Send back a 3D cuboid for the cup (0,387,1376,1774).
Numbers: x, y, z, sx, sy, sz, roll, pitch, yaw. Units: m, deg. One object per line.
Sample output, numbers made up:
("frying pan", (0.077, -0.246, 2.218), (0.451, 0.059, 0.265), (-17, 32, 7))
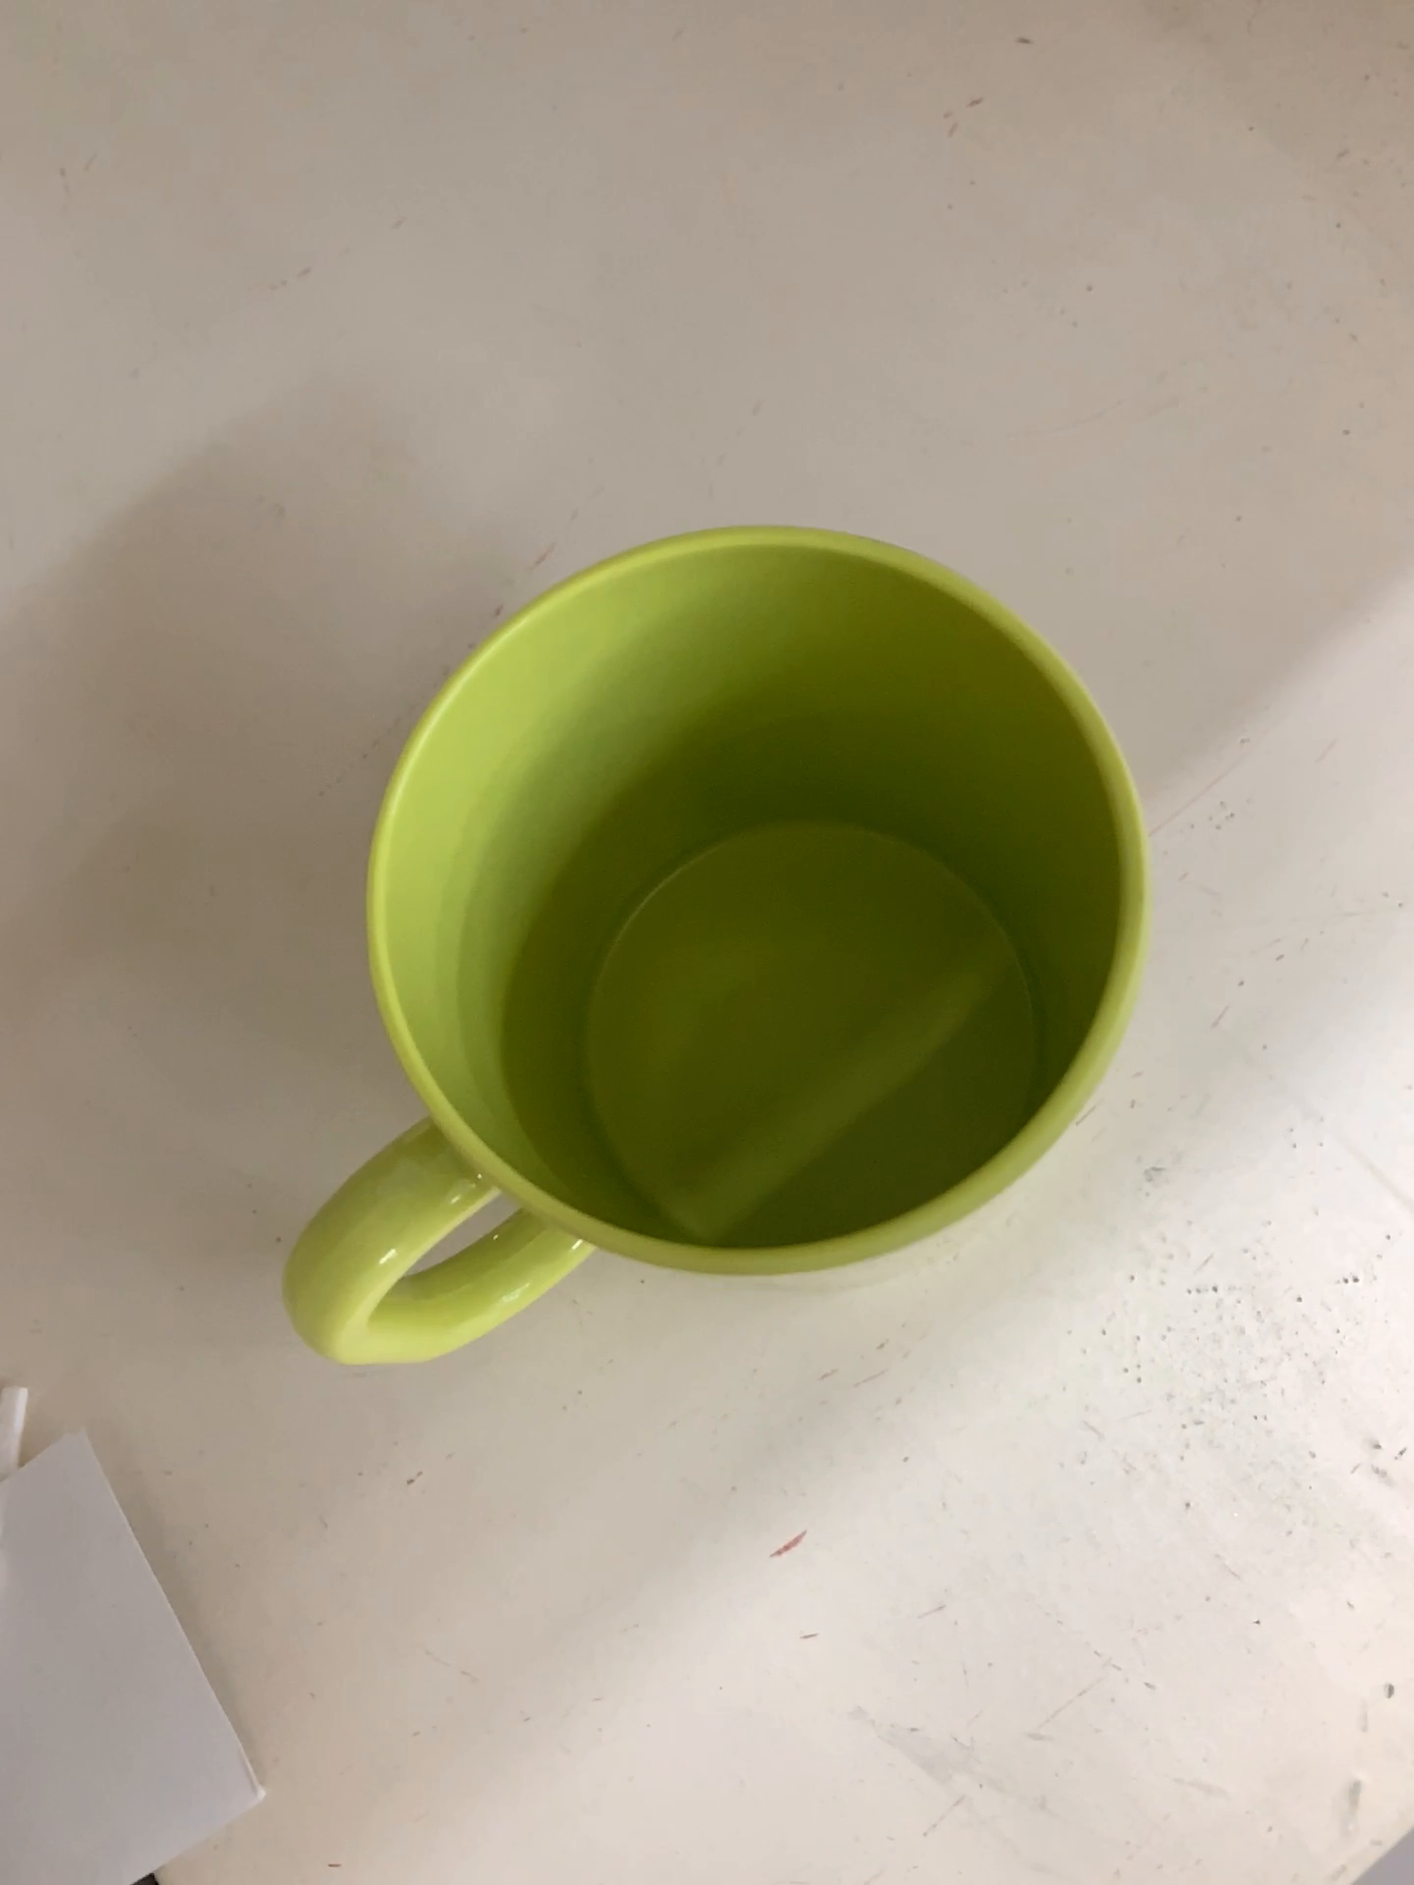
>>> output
("cup", (-0.002, 0.015, 0.158), (0.100, 0.070, 0.070), (-40, 71, -4))
